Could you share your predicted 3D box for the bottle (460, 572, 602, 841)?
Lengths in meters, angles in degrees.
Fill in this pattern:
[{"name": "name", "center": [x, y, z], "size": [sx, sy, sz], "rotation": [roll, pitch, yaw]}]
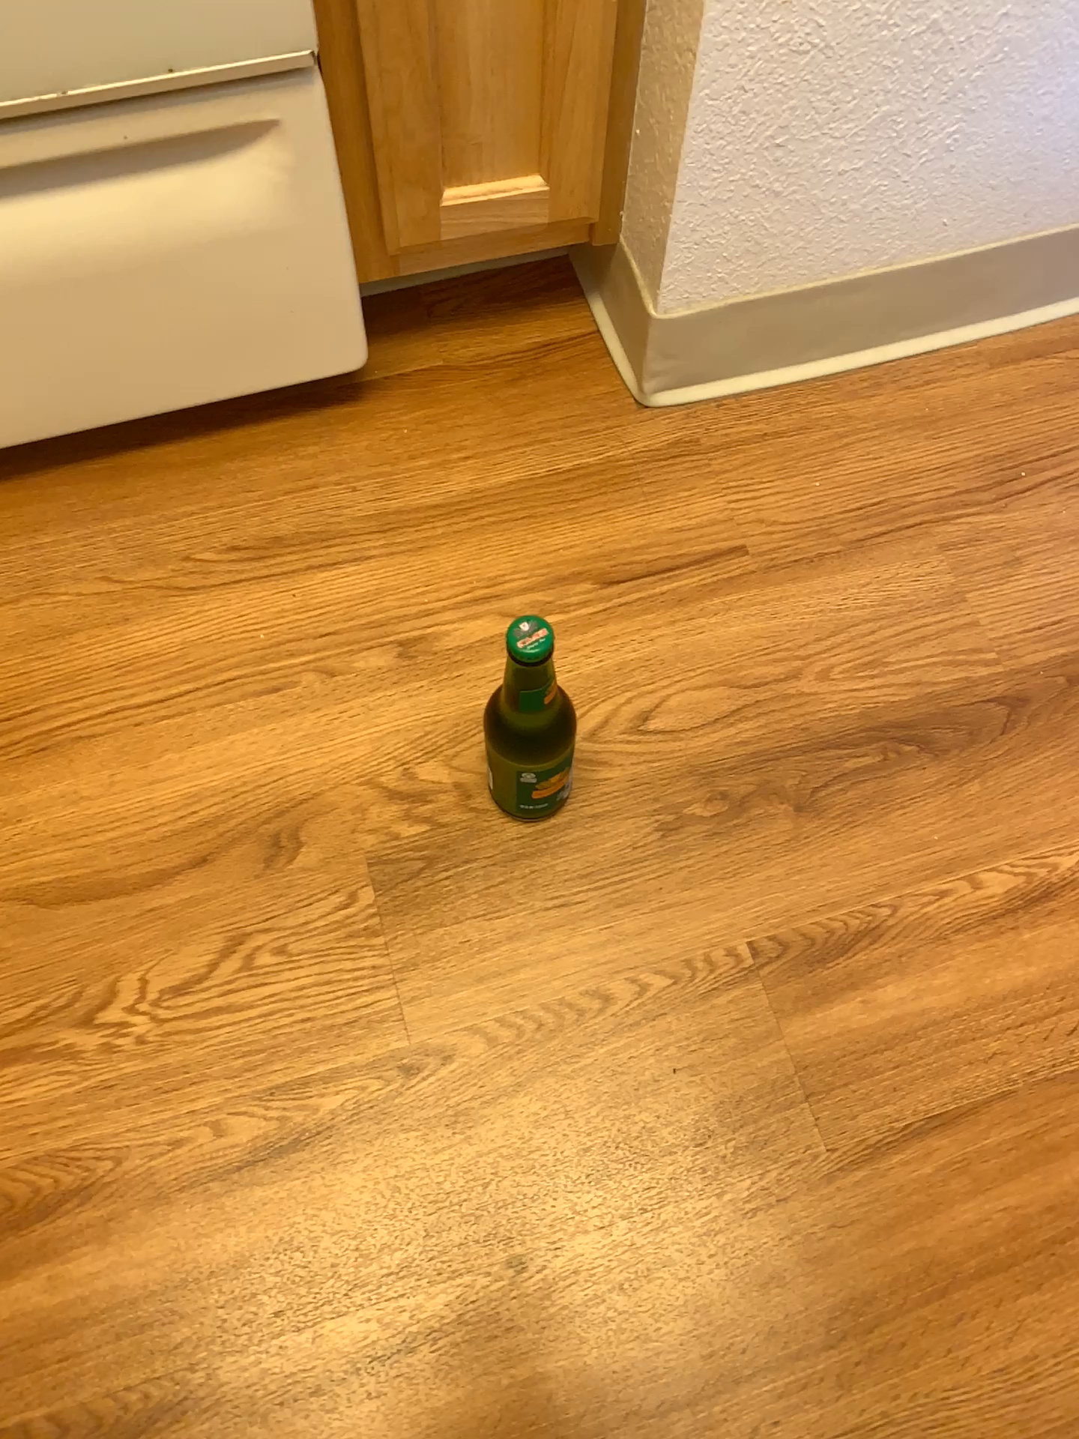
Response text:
[{"name": "bottle", "center": [-0.007, 0.002, 0.704], "size": [0.050, 0.229, 0.060], "rotation": [-40, 71, -18]}]
